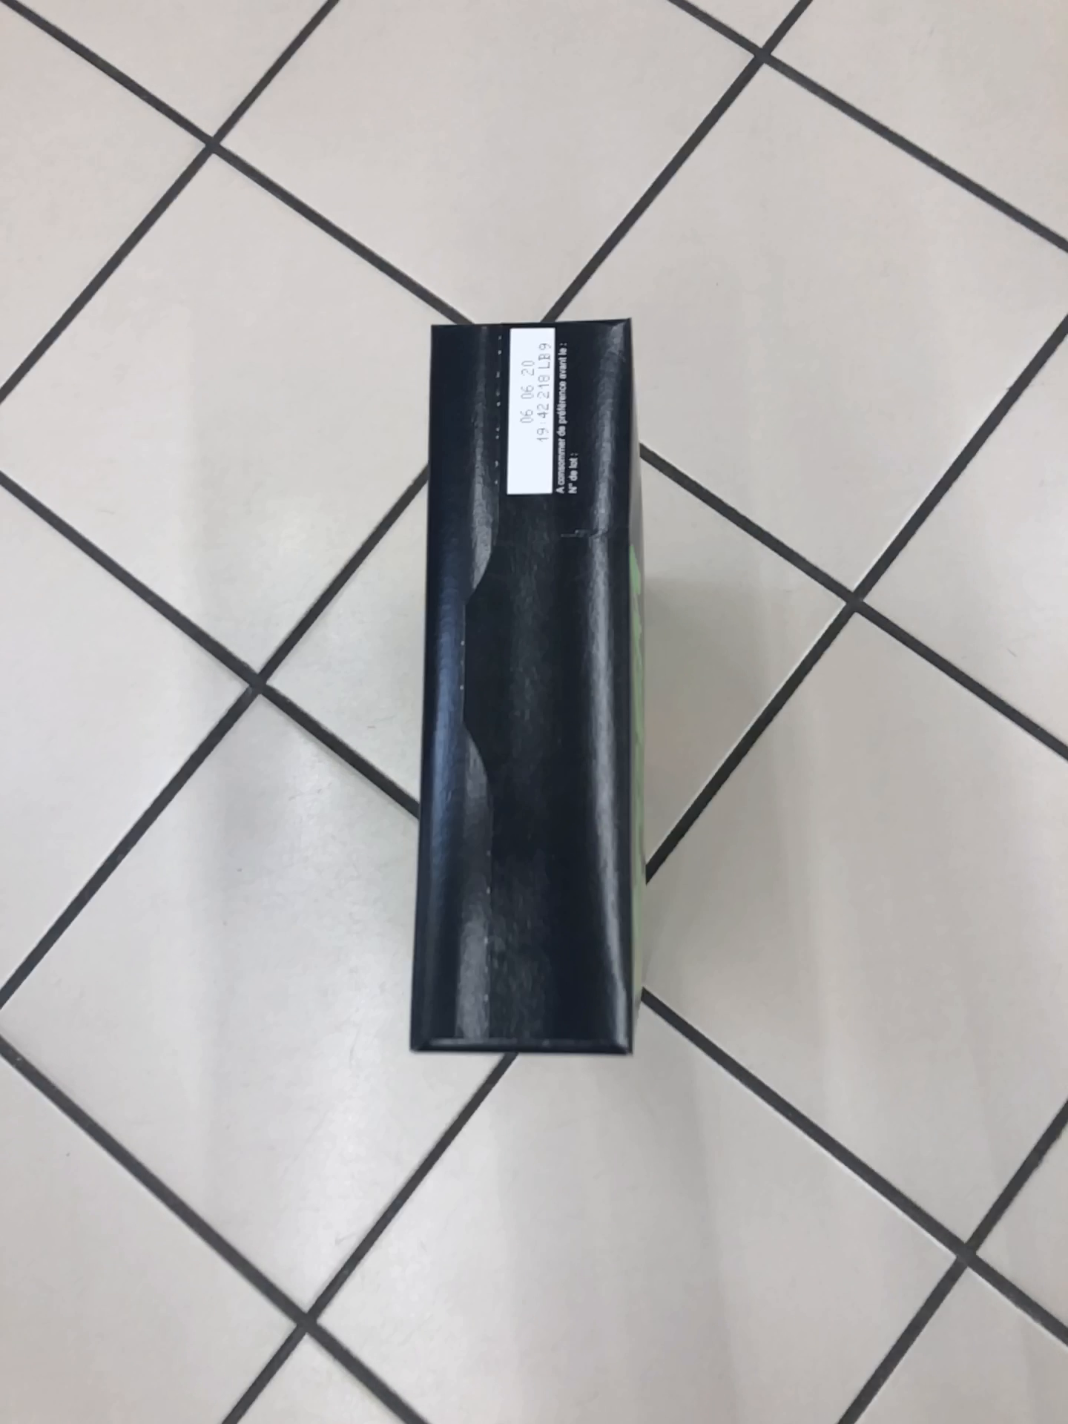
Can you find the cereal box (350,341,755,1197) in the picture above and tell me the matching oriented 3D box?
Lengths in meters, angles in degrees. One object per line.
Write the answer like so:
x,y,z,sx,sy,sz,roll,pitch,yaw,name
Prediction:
0.015,0.026,0.395,0.090,0.240,0.200,0,81,5,cereal box
